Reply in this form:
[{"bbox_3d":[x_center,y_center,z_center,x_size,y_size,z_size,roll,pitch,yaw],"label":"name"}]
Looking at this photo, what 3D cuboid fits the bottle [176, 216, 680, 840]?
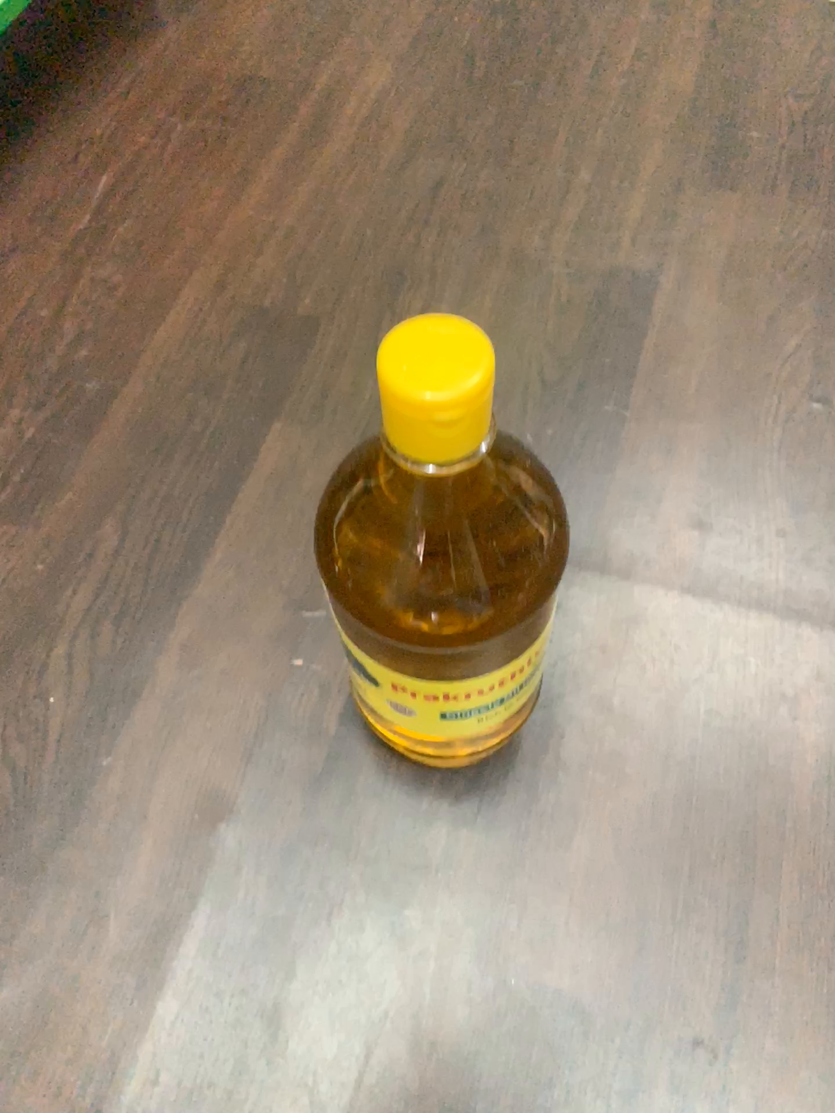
[{"bbox_3d":[0.007,0.012,0.311,0.090,0.220,0.090,-1,59,2],"label":"bottle"}]
